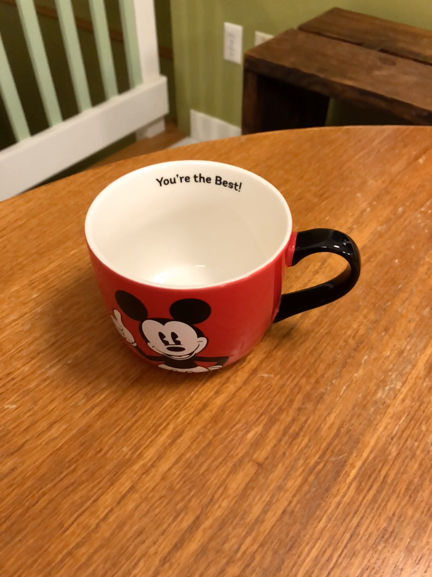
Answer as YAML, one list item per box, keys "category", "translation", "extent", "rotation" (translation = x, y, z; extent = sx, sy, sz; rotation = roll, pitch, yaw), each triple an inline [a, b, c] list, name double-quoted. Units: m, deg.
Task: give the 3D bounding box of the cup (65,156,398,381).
- category: "cup"
  translation: [0.005, -0.014, 0.266]
  extent: [0.142, 0.069, 0.103]
  rotation: [-1, 46, -2]
